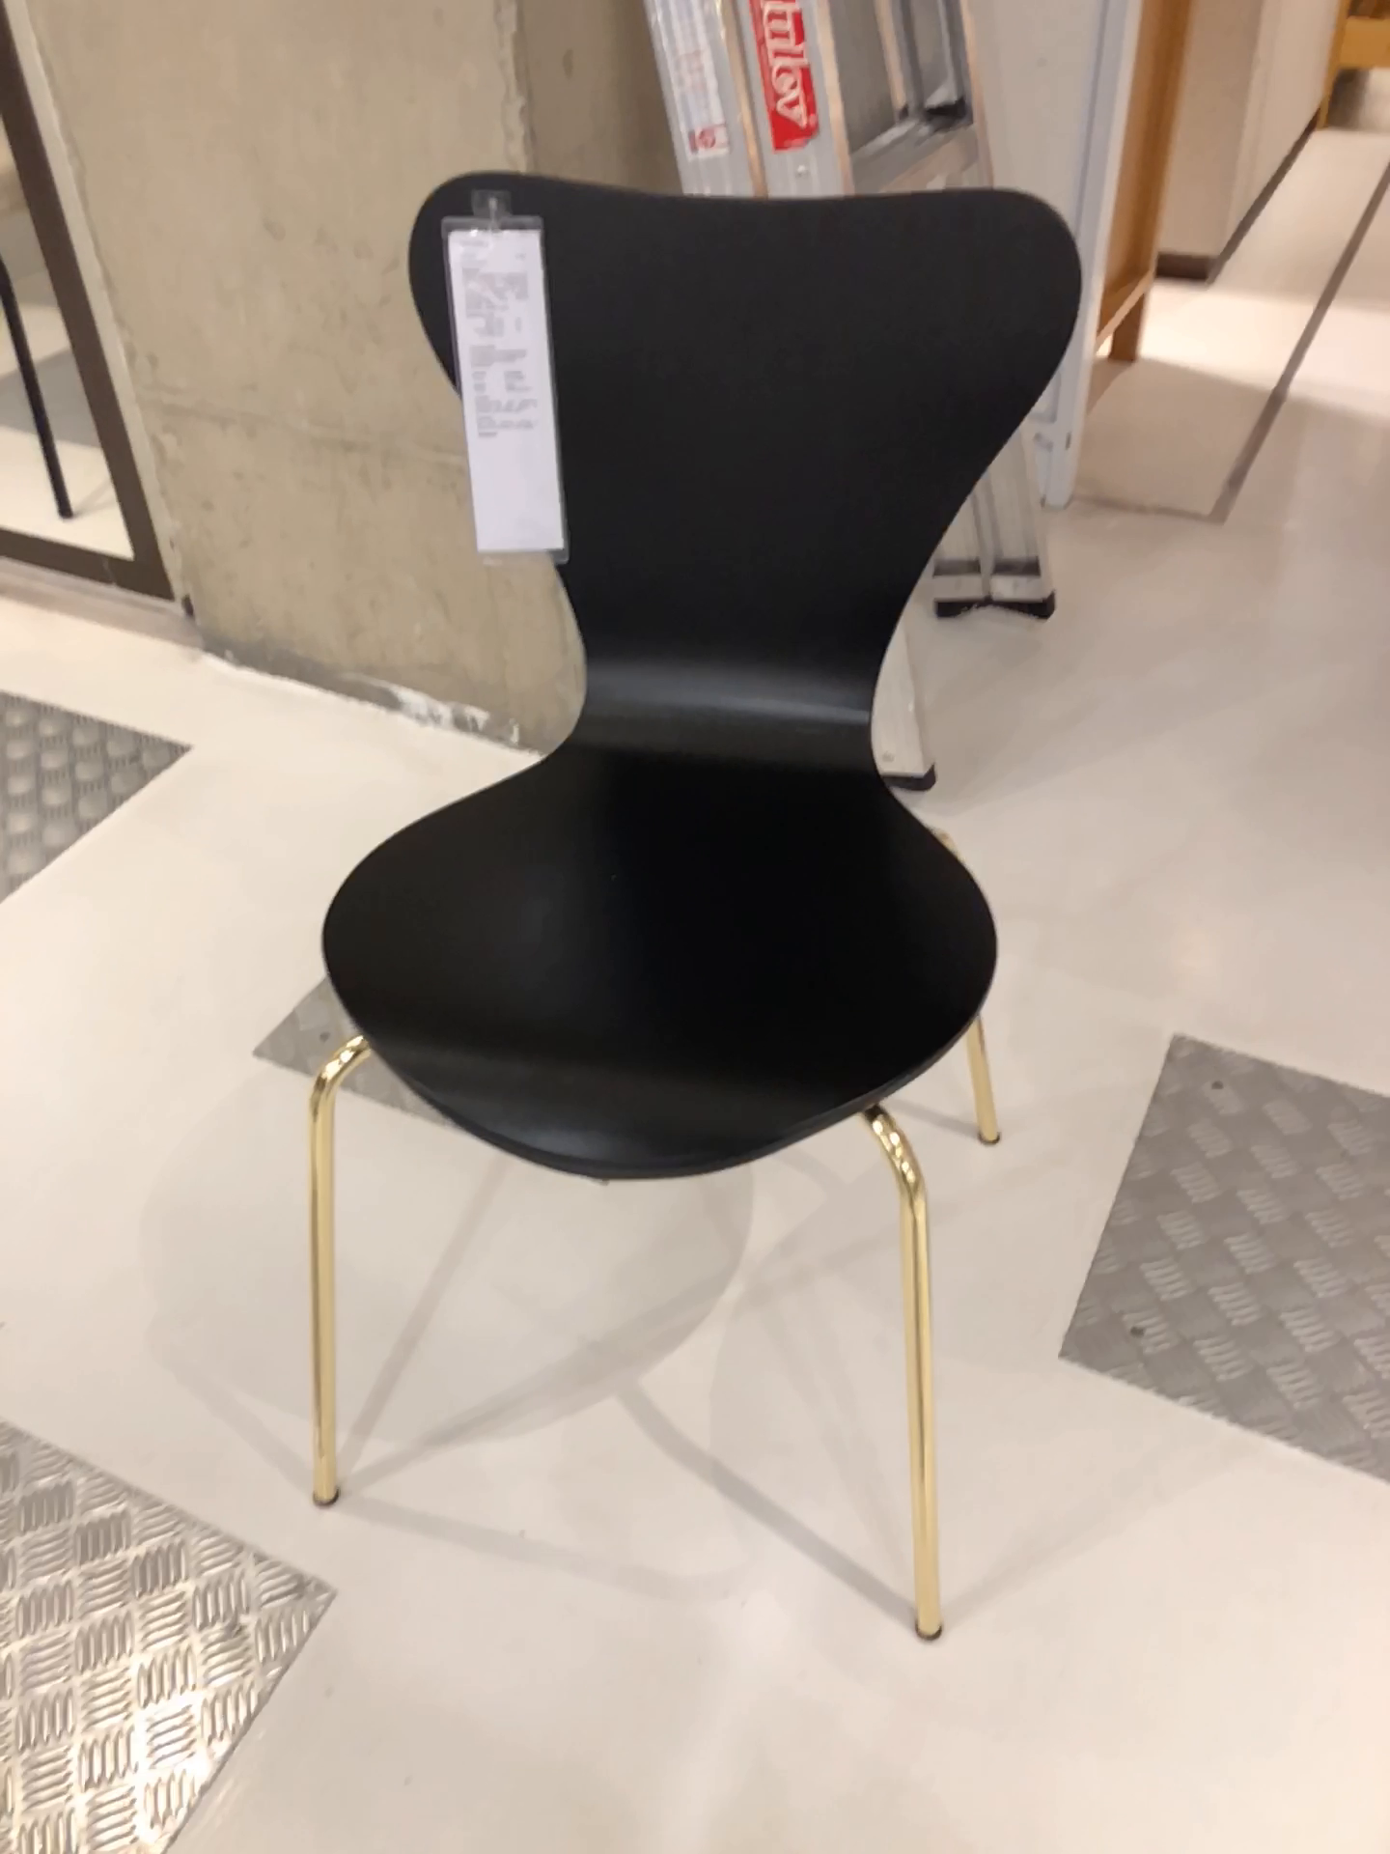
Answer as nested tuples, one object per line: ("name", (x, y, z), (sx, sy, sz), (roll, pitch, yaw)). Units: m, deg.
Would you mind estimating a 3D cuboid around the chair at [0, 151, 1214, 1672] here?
("chair", (0.004, -0.009, 1.010), (0.510, 0.774, 0.544), (8, 42, 12))
